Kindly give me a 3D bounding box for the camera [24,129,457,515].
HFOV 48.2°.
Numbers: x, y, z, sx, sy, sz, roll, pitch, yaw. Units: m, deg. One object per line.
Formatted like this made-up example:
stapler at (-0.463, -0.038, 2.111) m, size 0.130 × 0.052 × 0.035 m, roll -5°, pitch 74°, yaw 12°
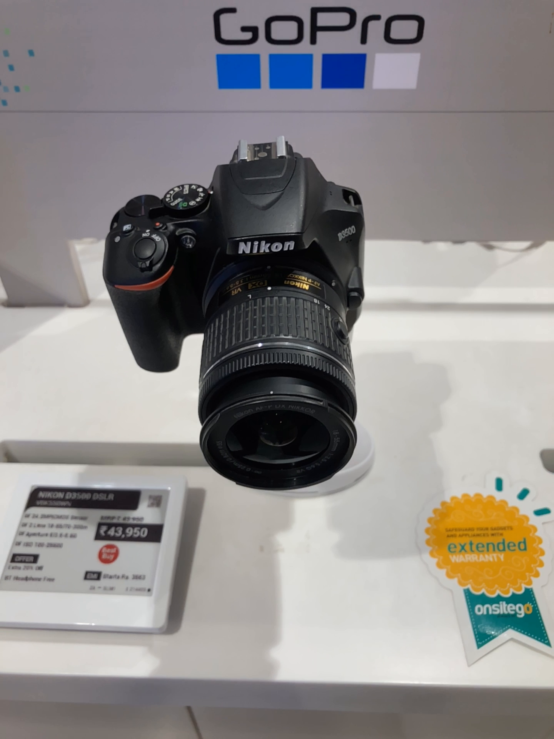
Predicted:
camera at (-0.012, -0.023, 0.245) m, size 0.120 × 0.089 × 0.121 m, roll -3°, pitch 45°, yaw -2°
